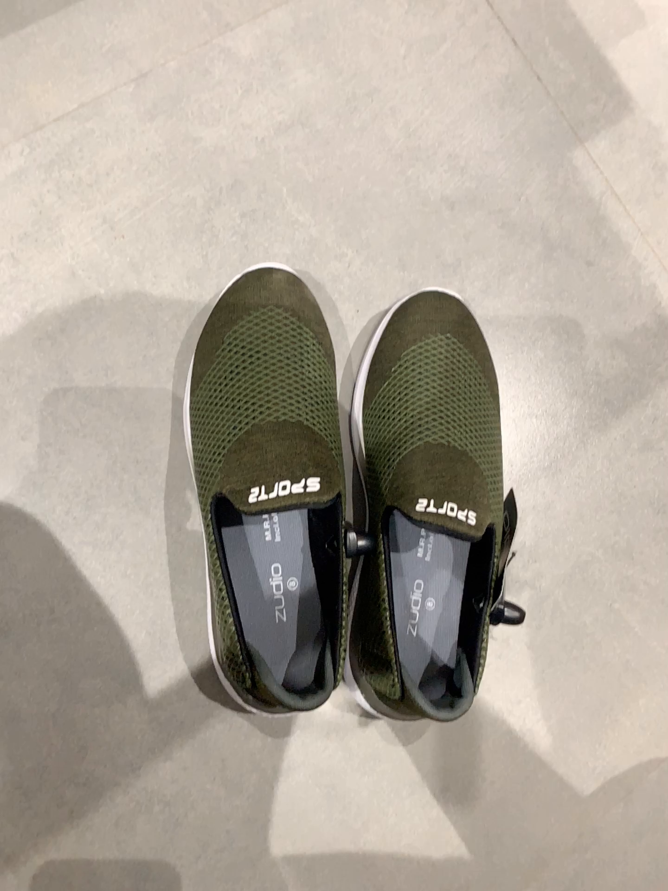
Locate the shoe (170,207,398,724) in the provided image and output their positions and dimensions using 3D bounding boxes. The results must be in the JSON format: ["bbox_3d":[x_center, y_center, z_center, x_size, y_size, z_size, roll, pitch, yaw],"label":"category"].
[{"bbox_3d":[-0.037,0.008,0.430,0.100,0.100,0.280,-5,86,-11],"label":"shoe"}]

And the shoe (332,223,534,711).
[{"bbox_3d":[0.058,0.013,0.451,0.100,0.100,0.280,1,85,-11],"label":"shoe"}]
